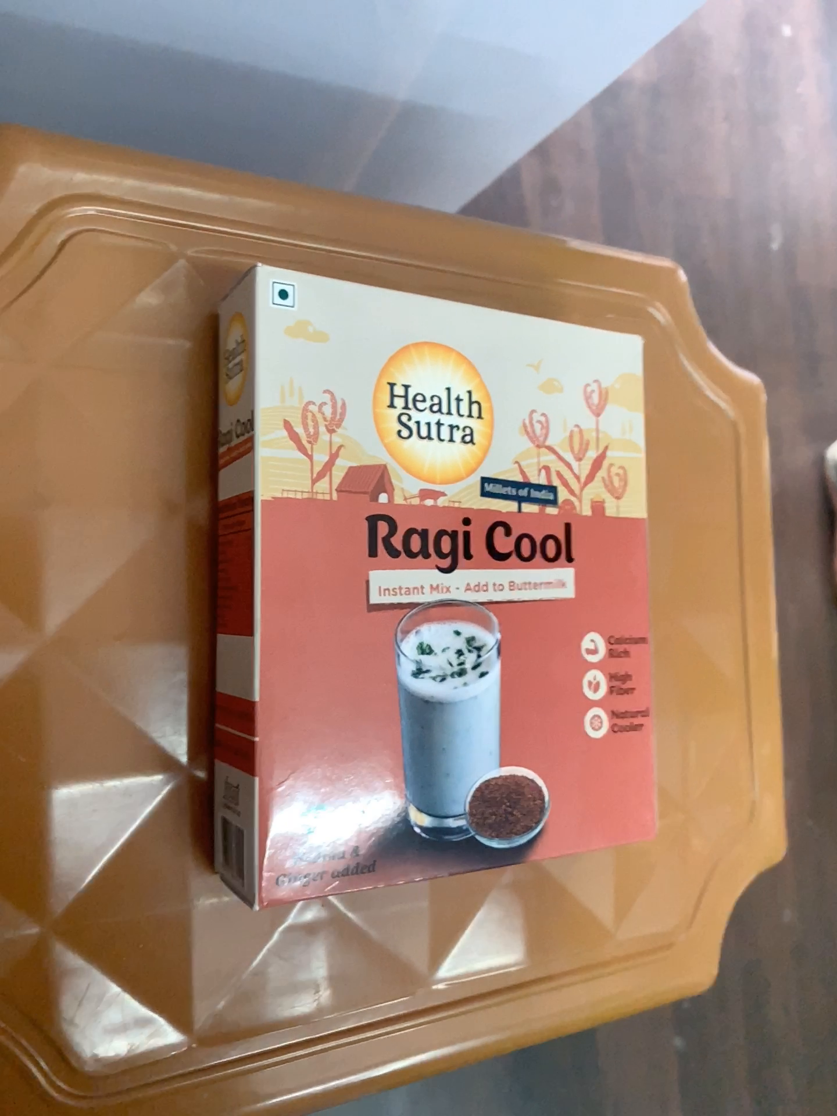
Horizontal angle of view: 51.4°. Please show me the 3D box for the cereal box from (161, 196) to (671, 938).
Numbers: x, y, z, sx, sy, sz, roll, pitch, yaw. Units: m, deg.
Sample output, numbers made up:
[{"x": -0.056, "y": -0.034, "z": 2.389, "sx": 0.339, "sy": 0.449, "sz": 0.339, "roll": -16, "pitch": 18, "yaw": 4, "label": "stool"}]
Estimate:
[{"x": 0.002, "y": 0.002, "z": 0.249, "sx": 0.140, "sy": 0.040, "sz": 0.170, "roll": 1, "pitch": 86, "yaw": -27, "label": "cereal box"}]
